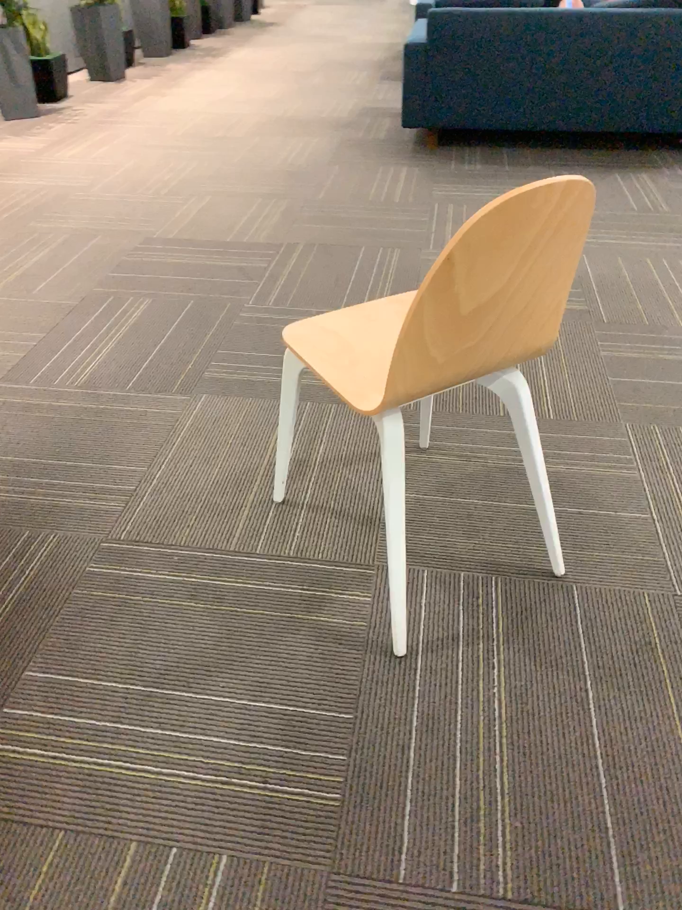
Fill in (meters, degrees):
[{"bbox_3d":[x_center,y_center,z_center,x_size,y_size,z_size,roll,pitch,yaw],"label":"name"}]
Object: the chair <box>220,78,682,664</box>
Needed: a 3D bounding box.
[{"bbox_3d":[0.145,-0.172,1.294,0.460,0.825,0.573,-19,41,-23],"label":"chair"}]
